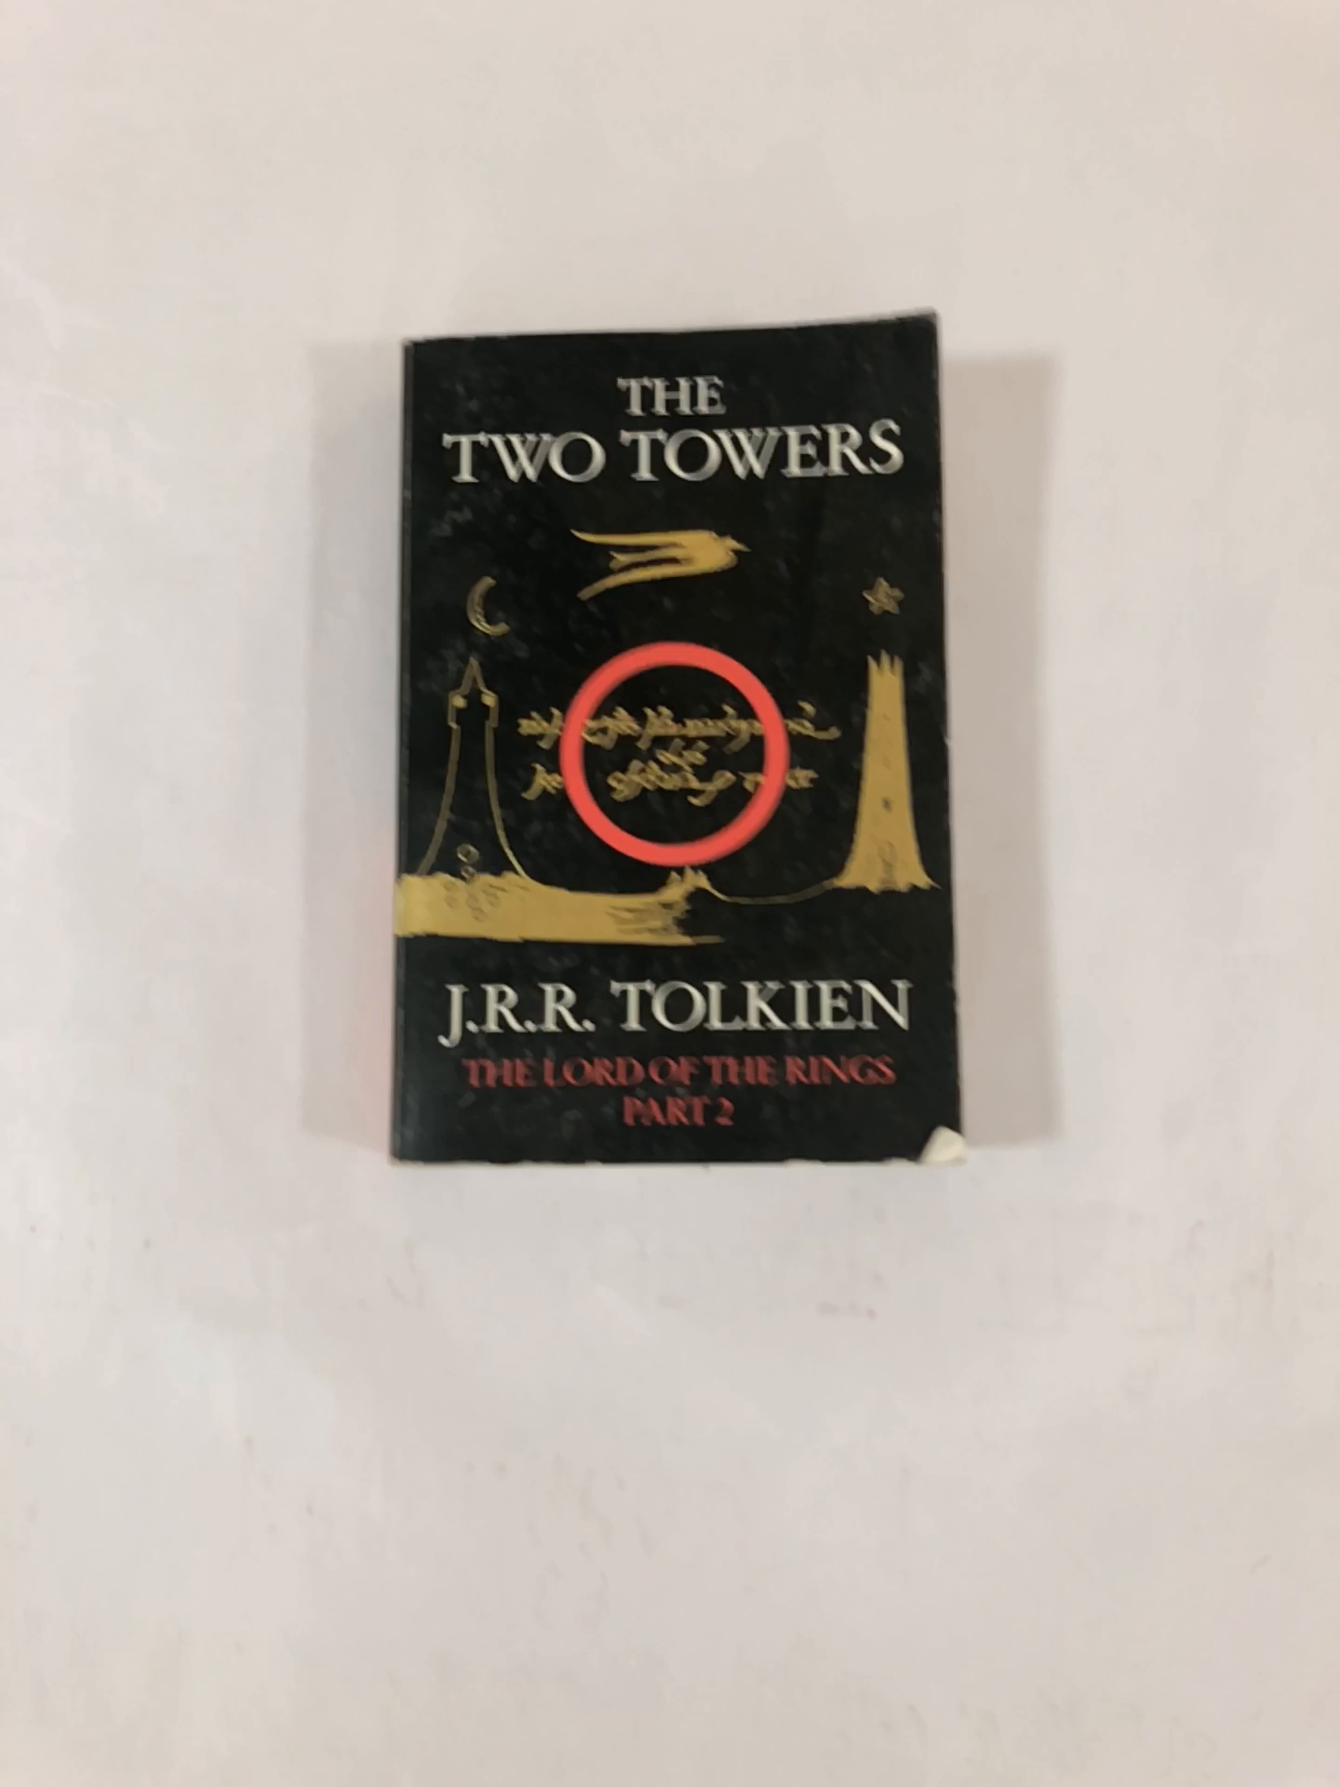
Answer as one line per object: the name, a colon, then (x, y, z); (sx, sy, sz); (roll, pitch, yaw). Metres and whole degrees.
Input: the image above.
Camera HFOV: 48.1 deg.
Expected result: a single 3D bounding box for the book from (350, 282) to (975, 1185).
book: (-0.003, -0.037, 0.342); (0.130, 0.030, 0.200); (-1, 81, 1)
